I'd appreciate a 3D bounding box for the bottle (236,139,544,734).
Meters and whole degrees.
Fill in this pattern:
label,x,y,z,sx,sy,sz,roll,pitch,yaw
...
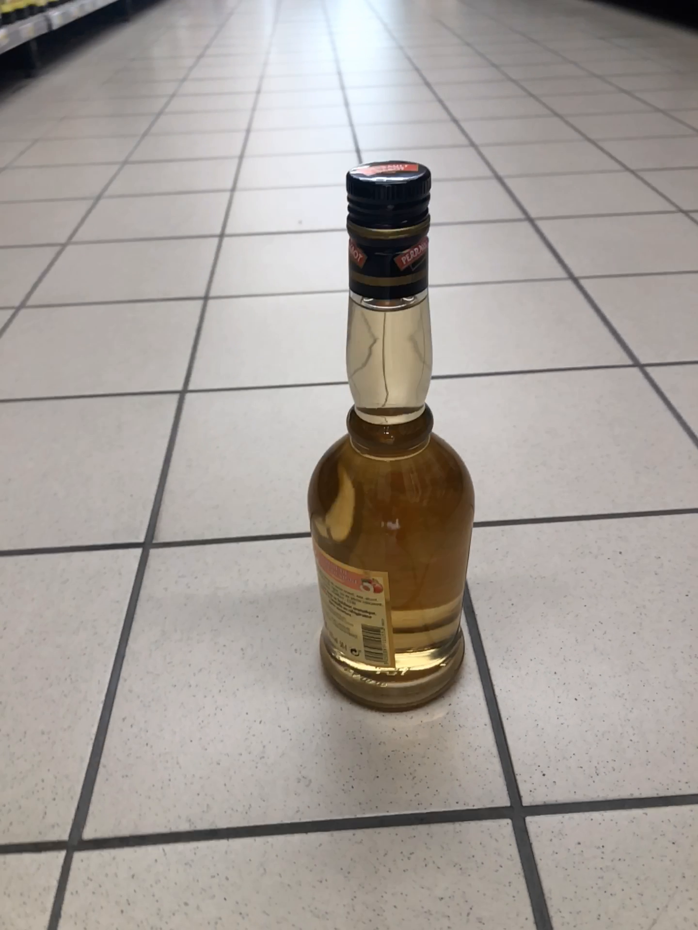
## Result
label,x,y,z,sx,sy,sz,roll,pitch,yaw
bottle,0.019,-0.004,0.353,0.080,0.248,0.080,-2,34,1
